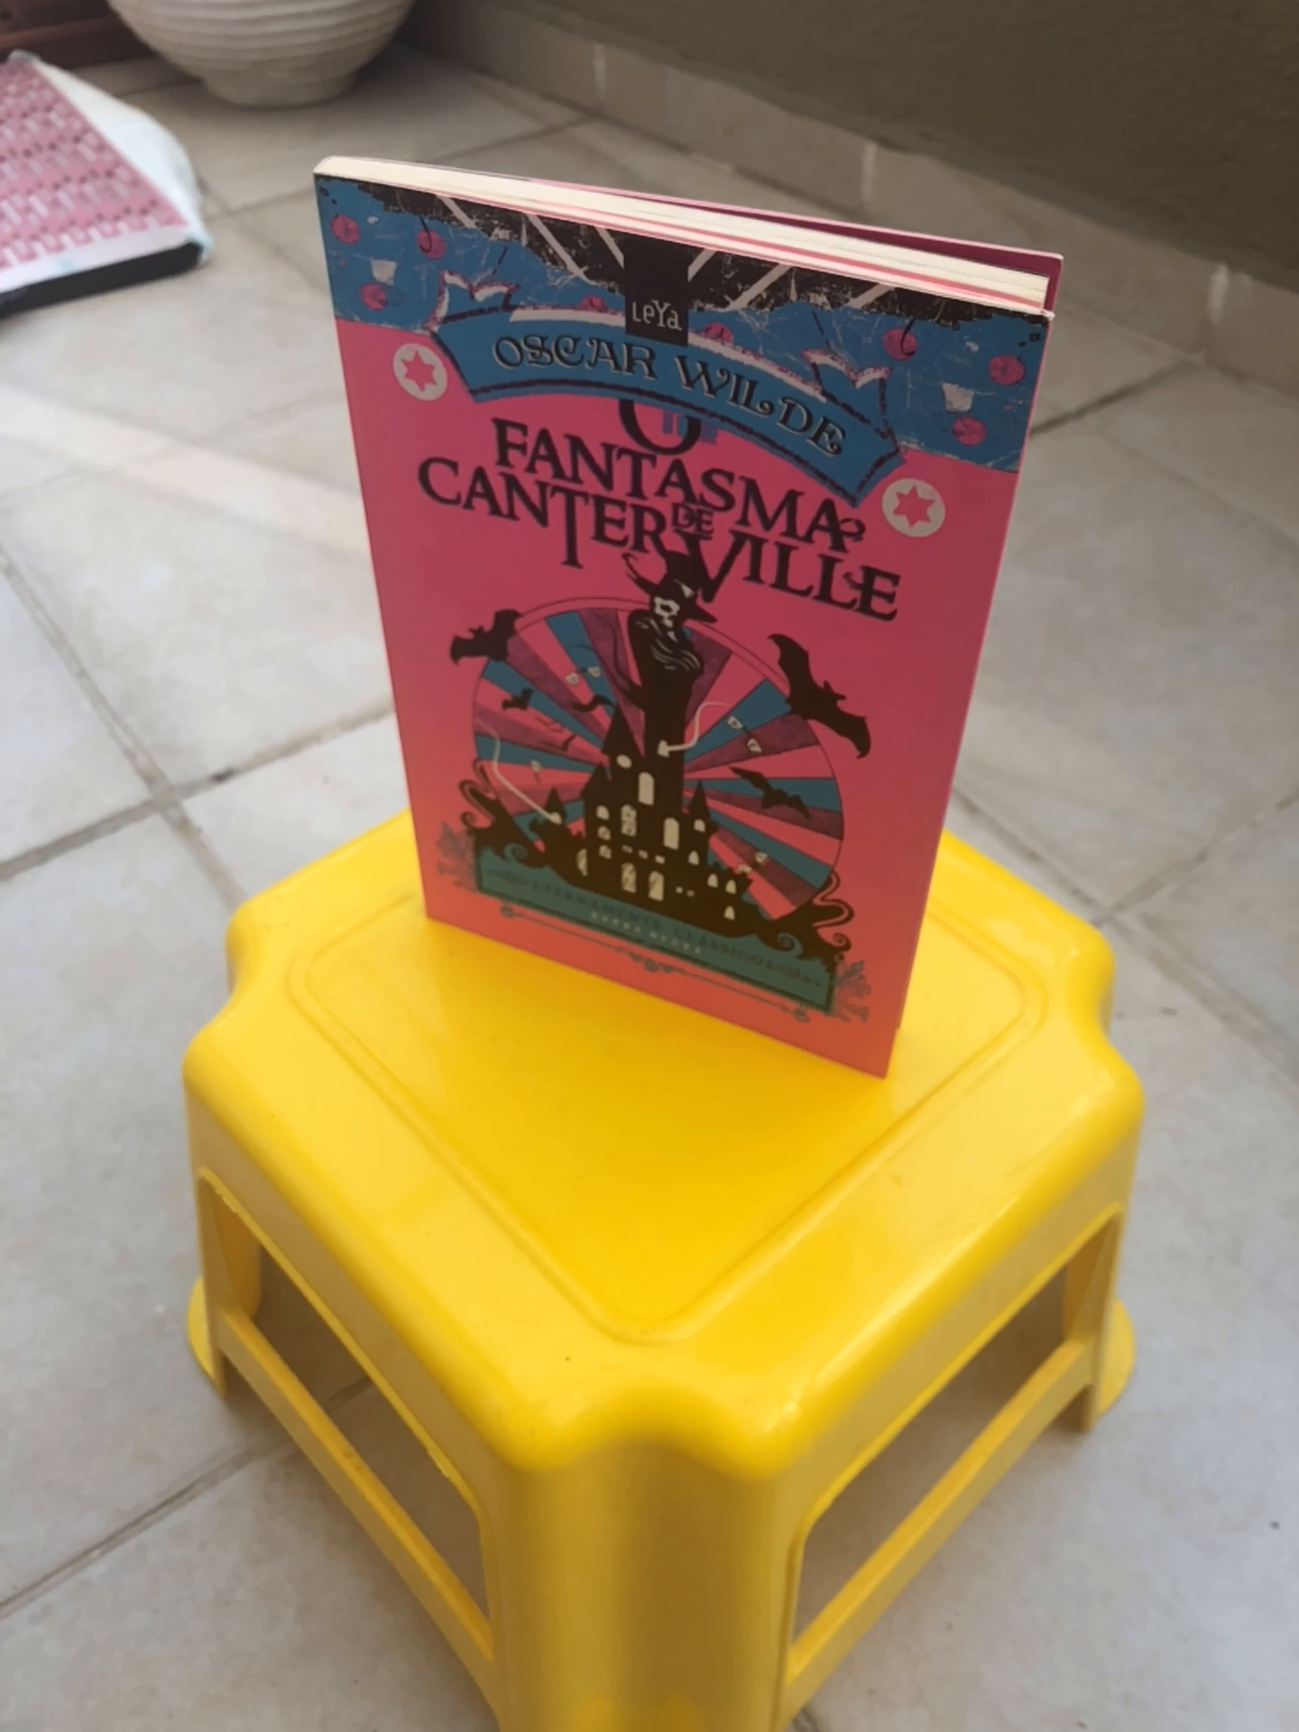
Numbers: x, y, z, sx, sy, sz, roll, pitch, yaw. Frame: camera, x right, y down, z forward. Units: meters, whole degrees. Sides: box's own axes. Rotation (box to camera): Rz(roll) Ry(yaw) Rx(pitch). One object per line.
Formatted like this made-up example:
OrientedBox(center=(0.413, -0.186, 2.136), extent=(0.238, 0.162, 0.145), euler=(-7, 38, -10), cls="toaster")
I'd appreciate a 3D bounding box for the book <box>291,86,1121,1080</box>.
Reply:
OrientedBox(center=(0.007, -0.048, 0.334), extent=(0.150, 0.219, 0.020), euler=(18, 49, 17), cls="book")
